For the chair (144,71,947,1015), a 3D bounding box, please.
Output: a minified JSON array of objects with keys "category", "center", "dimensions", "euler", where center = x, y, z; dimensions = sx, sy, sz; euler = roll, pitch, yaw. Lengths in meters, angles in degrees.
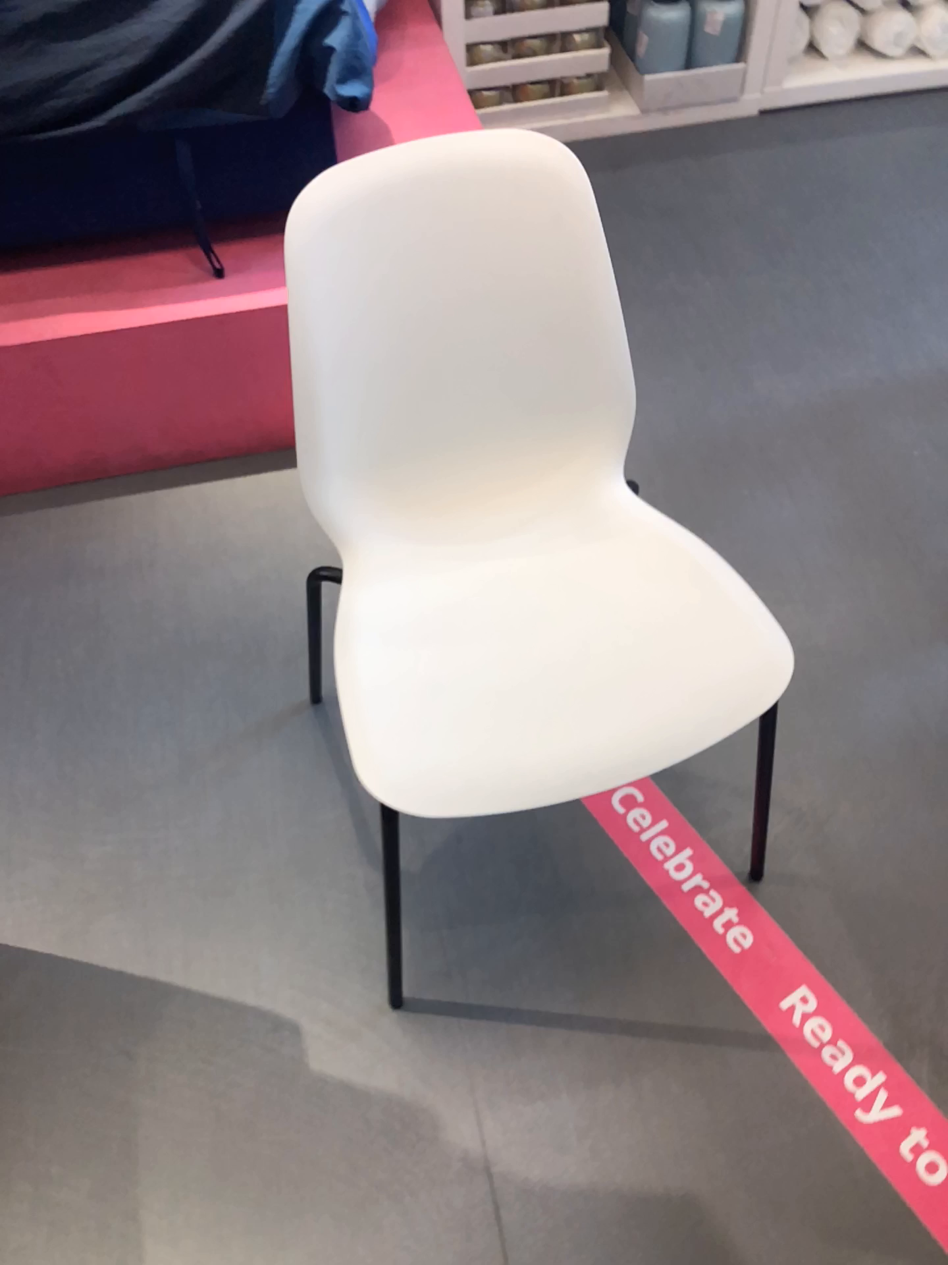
[{"category":"chair","center":[0.051,-0.045,1.092],"dimensions":[0.510,0.756,0.493],"euler":[-16,54,-10]}]
